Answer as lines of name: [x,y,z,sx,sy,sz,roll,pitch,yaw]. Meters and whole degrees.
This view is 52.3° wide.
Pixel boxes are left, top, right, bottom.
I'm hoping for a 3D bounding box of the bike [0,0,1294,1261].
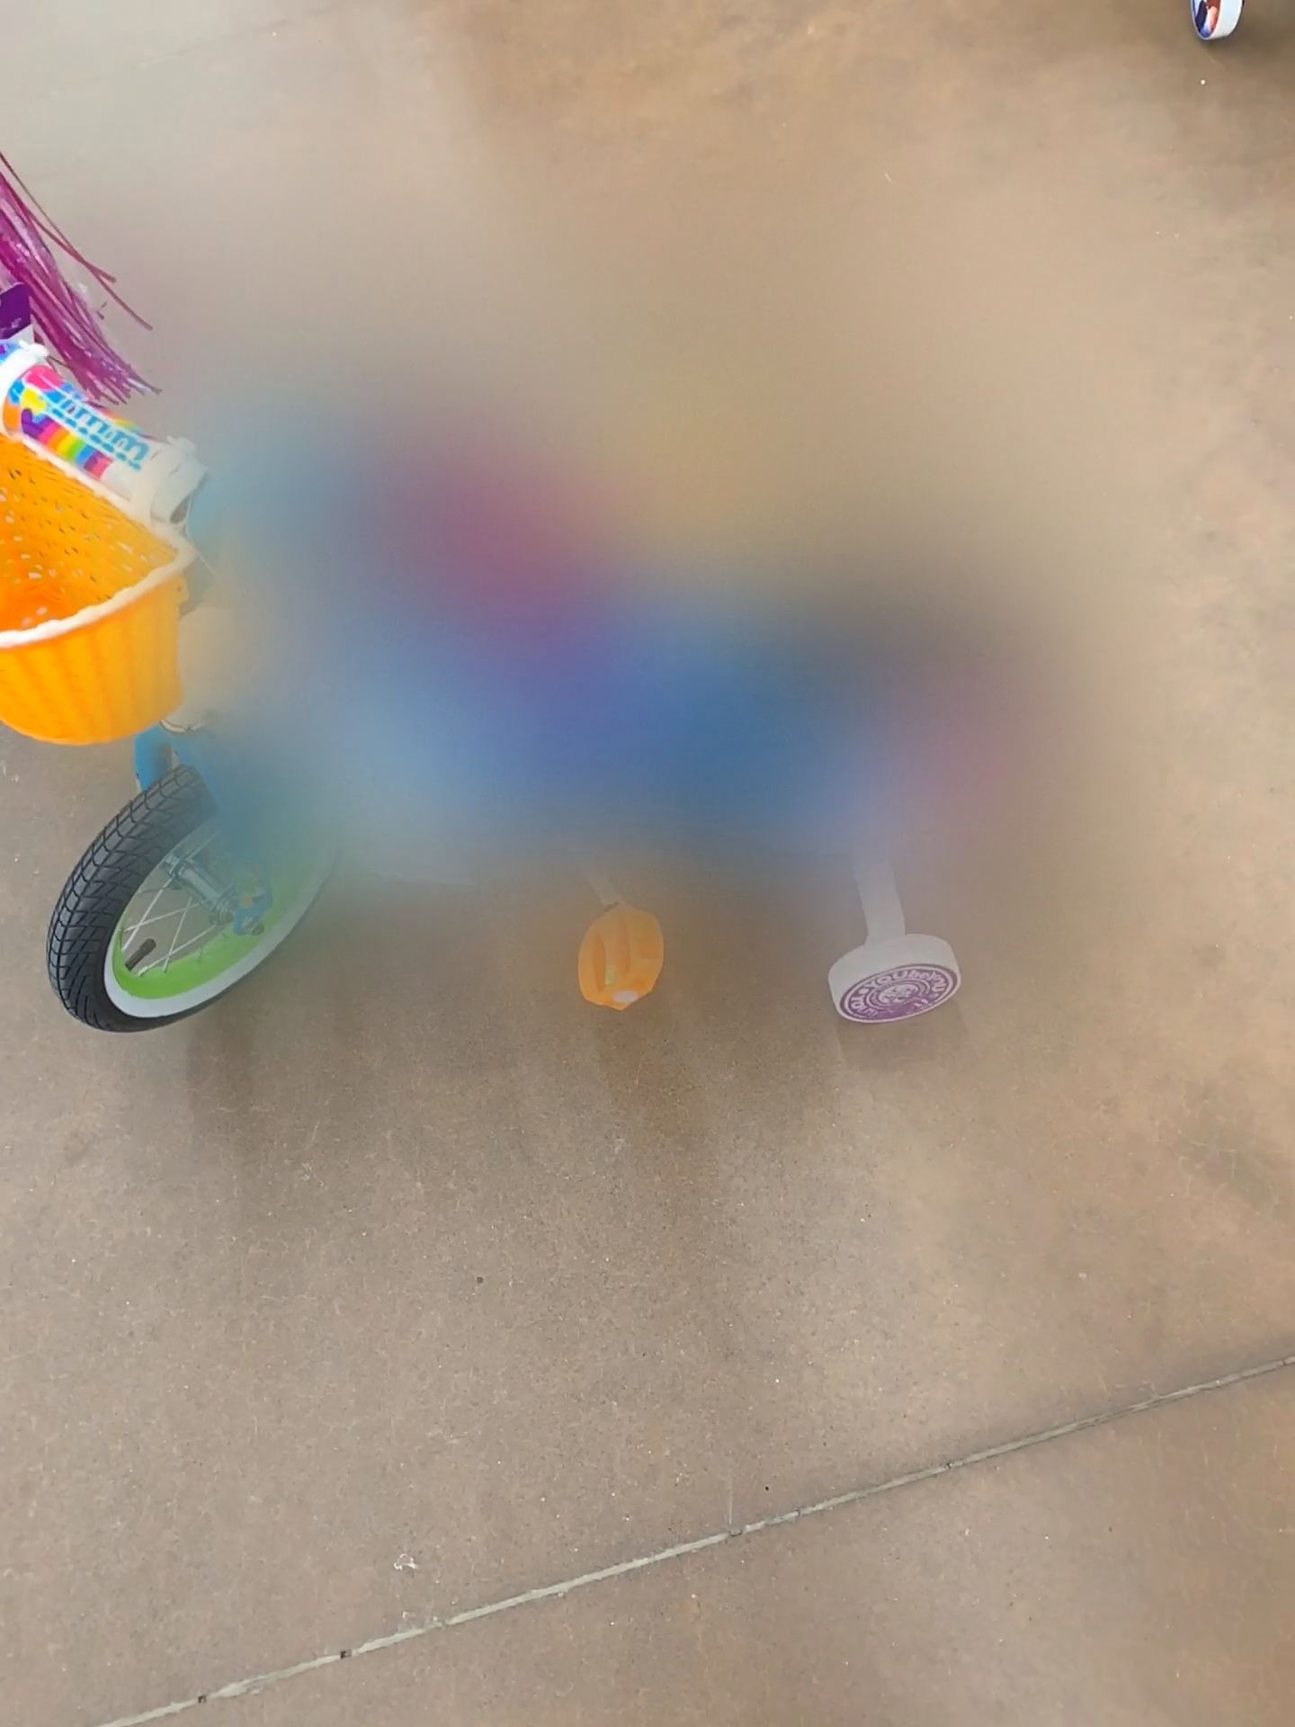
bike: [-0.131,-0.190,0.955,0.815,0.664,0.554,-18,56,-3]
